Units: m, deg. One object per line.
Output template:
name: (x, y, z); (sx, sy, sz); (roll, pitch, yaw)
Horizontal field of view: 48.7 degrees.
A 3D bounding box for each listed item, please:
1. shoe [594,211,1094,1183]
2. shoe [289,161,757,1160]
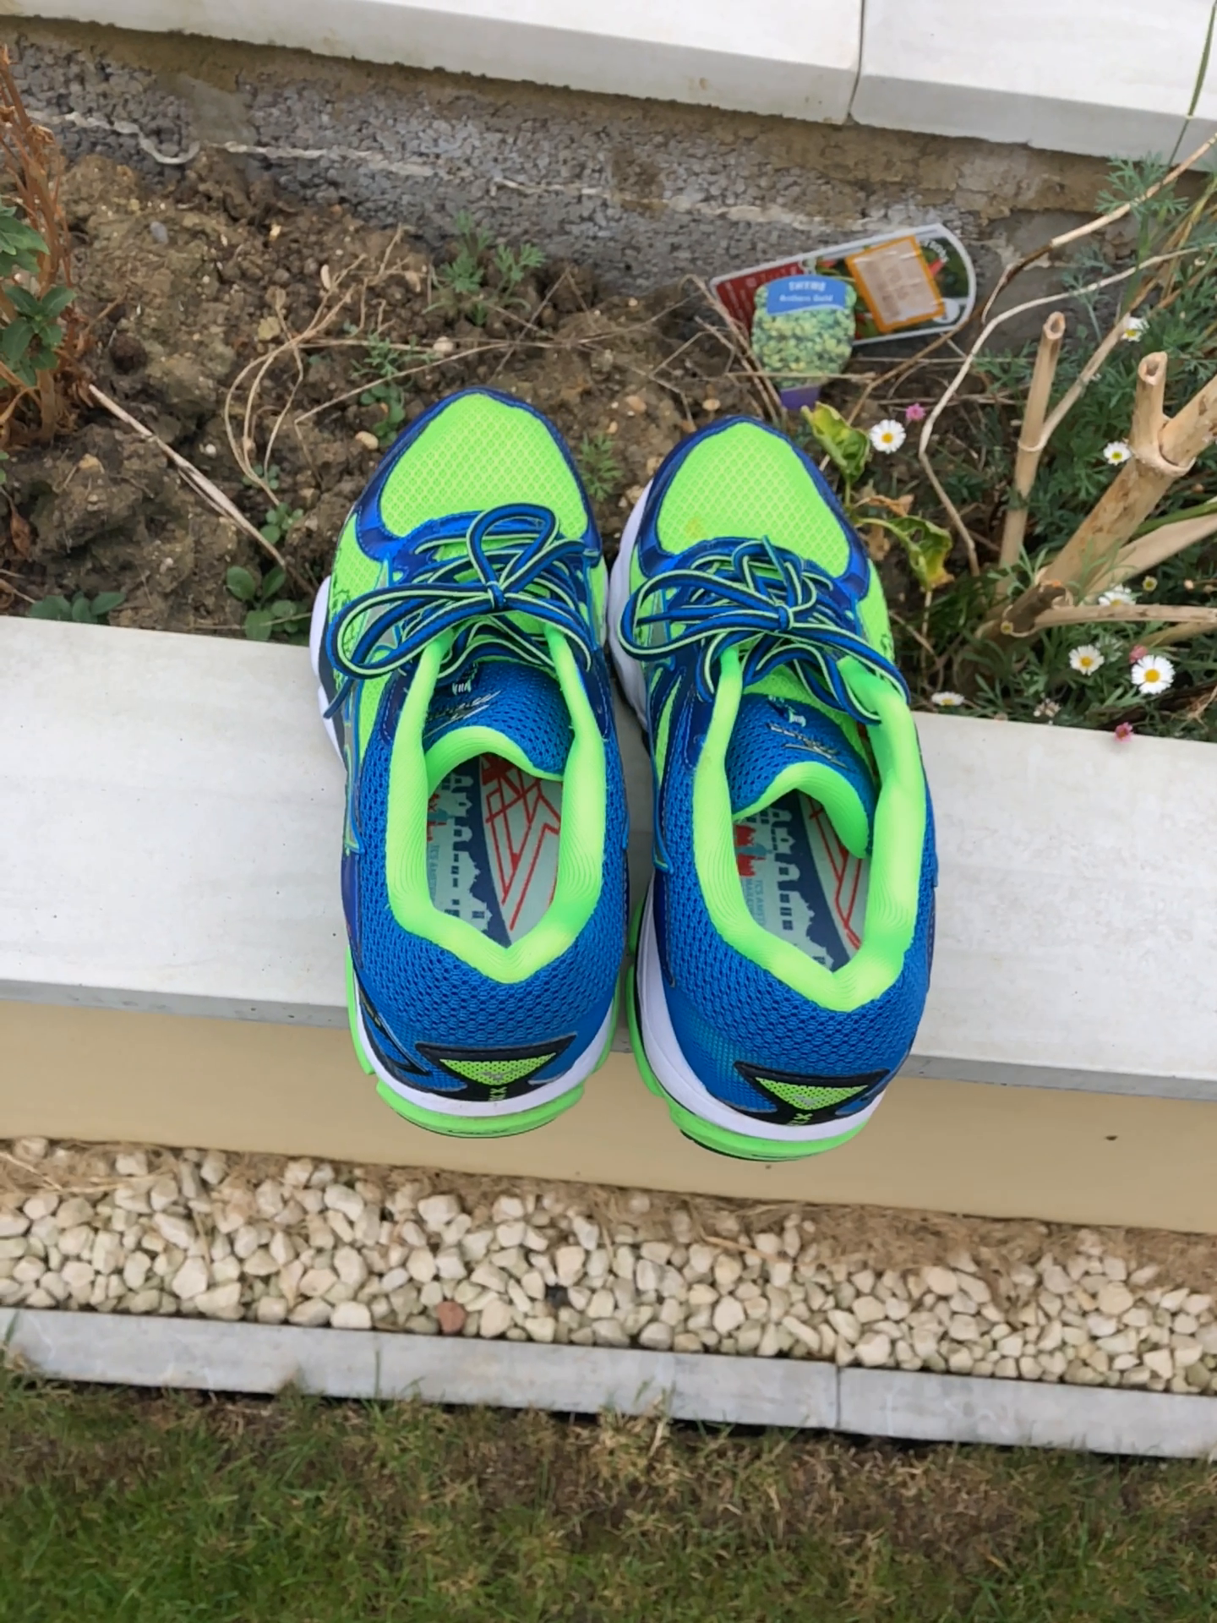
shoe: (0.061, -0.042, 0.441); (0.110, 0.120, 0.291); (4, 62, -4)
shoe: (-0.036, -0.050, 0.428); (0.110, 0.120, 0.291); (-2, 67, -7)
